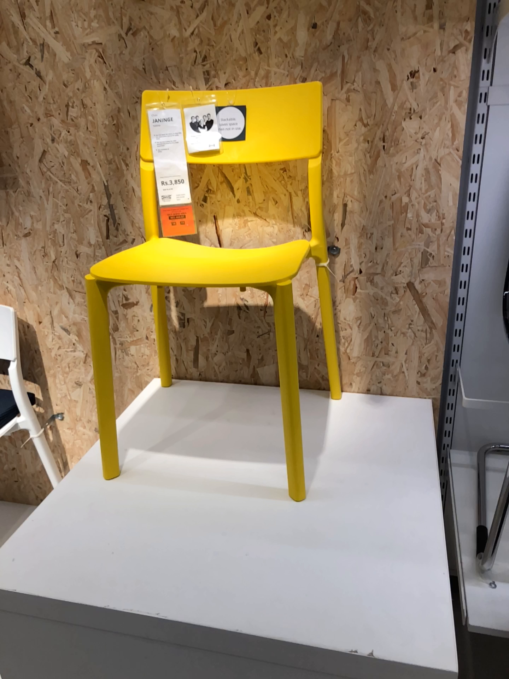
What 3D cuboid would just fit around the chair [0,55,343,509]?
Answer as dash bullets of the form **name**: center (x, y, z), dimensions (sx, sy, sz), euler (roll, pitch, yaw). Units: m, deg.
- **chair**: center (-0.084, -0.130, 1.066), dimensions (0.460, 0.676, 0.462), euler (2, 22, 13)
